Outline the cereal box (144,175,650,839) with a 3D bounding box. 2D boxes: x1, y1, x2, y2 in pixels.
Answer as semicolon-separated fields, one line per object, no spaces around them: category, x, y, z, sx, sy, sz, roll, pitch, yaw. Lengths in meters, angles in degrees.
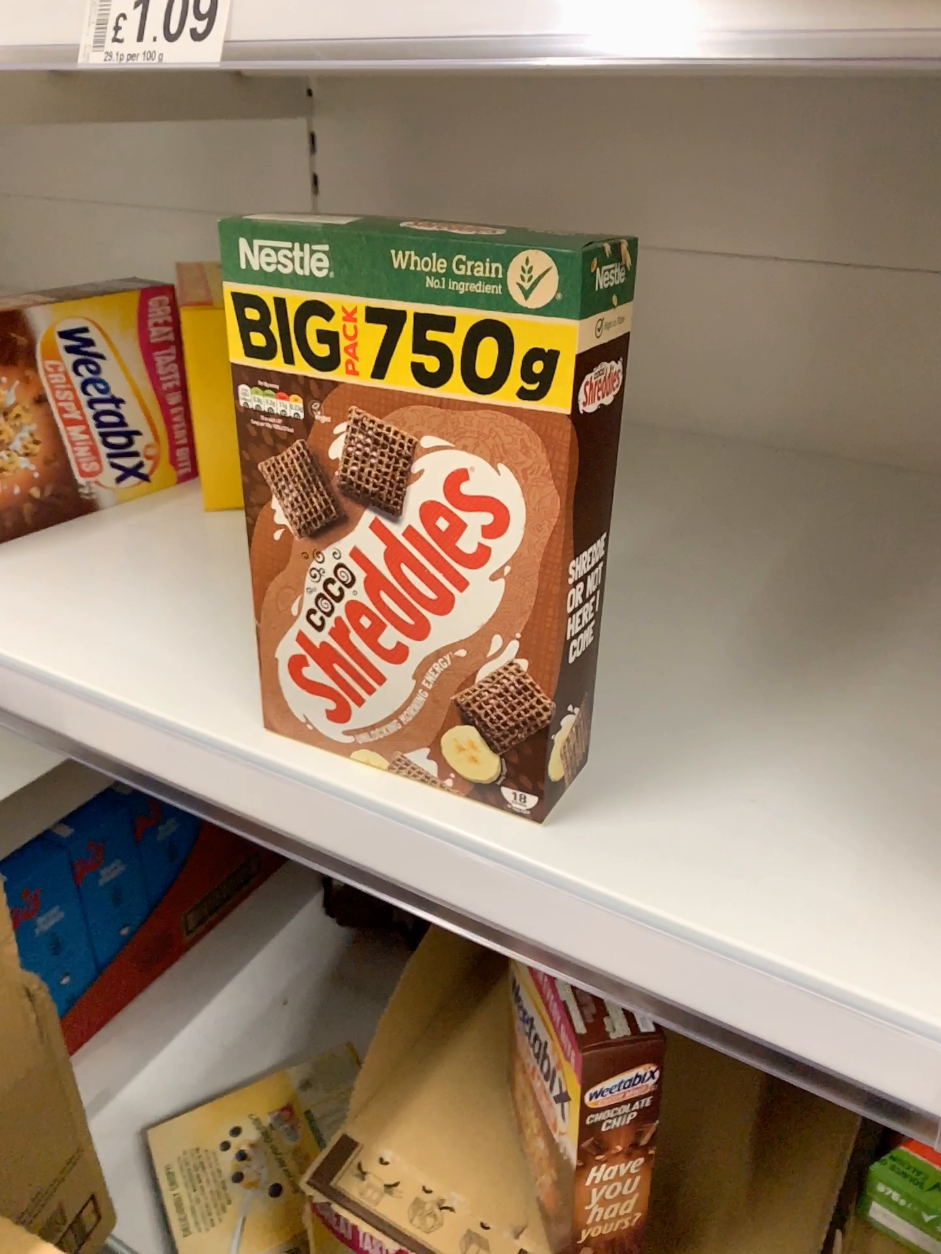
cereal box;-0.036;-0.063;0.491;0.210;0.287;0.081;15;31;25
